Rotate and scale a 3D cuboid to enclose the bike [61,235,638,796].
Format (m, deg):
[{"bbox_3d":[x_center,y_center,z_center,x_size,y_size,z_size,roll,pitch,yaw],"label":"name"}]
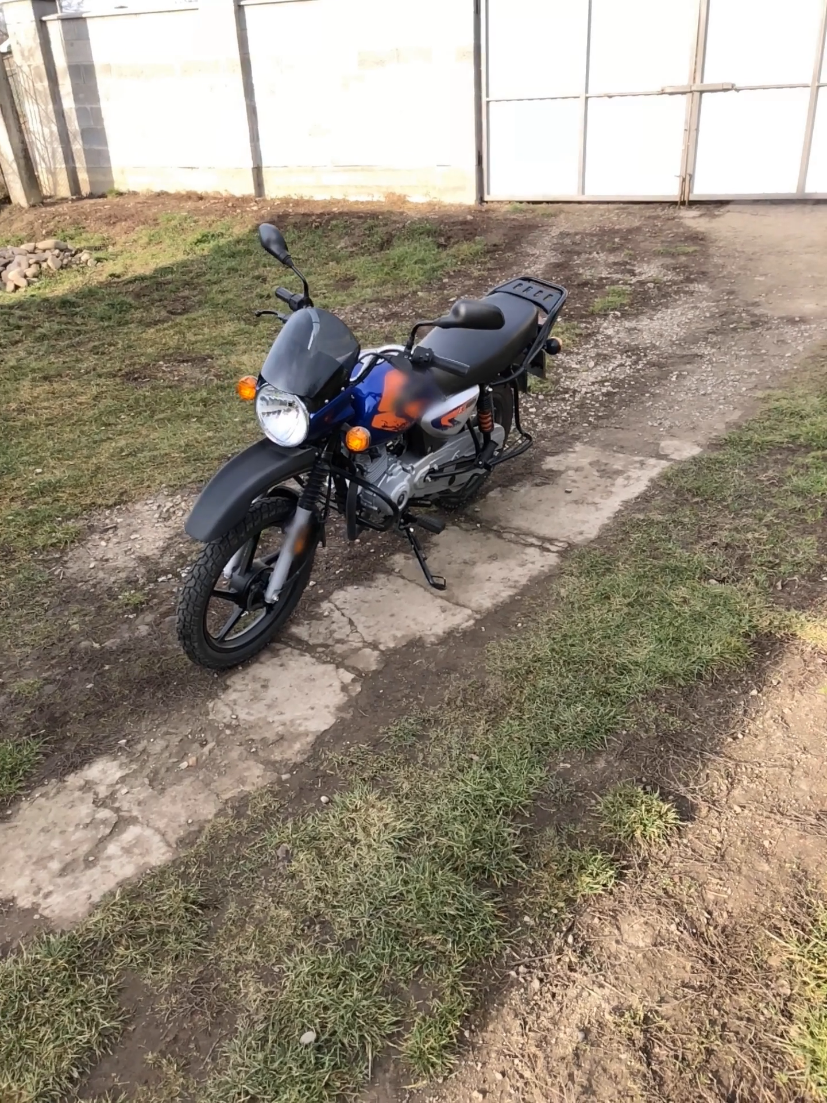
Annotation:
[{"bbox_3d":[-0.049,-0.298,3.015,0.808,1.050,1.788,17,35,32],"label":"bike"}]
